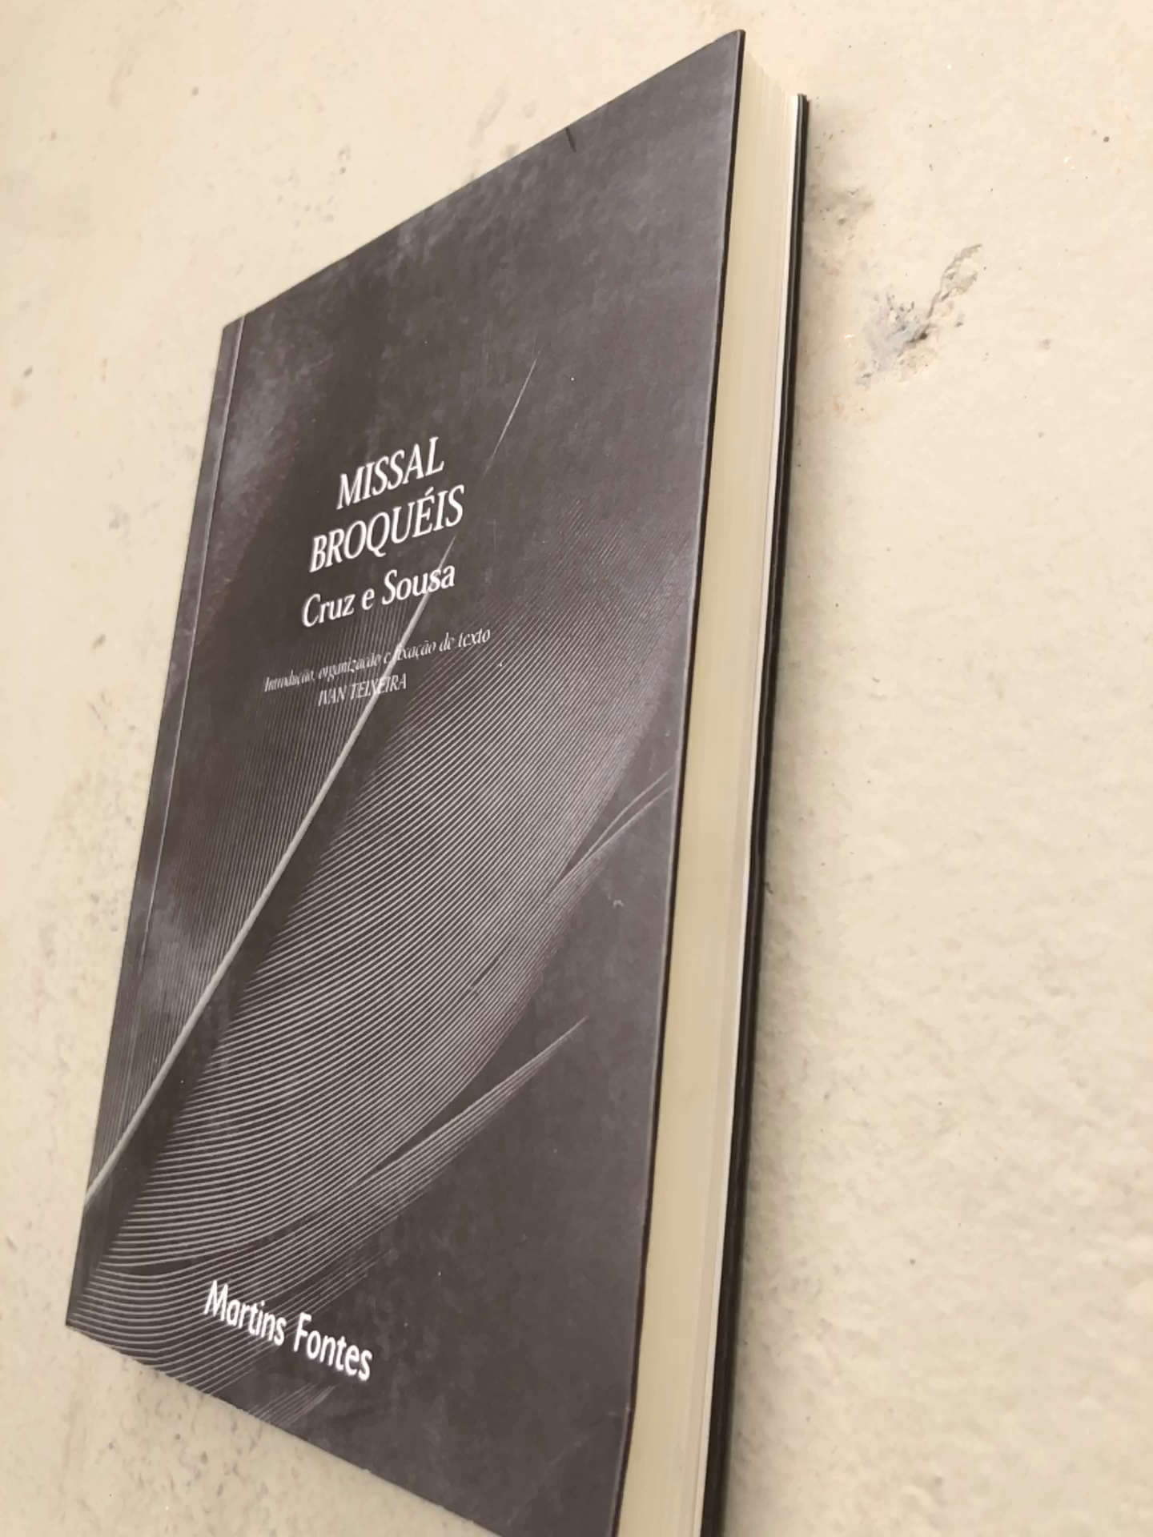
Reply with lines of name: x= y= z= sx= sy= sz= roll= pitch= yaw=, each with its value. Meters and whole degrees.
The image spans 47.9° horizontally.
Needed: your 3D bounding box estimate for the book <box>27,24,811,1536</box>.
book: x=-0.029 y=0.000 z=0.190 sx=0.128 sy=0.016 sz=0.173 roll=-6 pitch=73 yaw=43
